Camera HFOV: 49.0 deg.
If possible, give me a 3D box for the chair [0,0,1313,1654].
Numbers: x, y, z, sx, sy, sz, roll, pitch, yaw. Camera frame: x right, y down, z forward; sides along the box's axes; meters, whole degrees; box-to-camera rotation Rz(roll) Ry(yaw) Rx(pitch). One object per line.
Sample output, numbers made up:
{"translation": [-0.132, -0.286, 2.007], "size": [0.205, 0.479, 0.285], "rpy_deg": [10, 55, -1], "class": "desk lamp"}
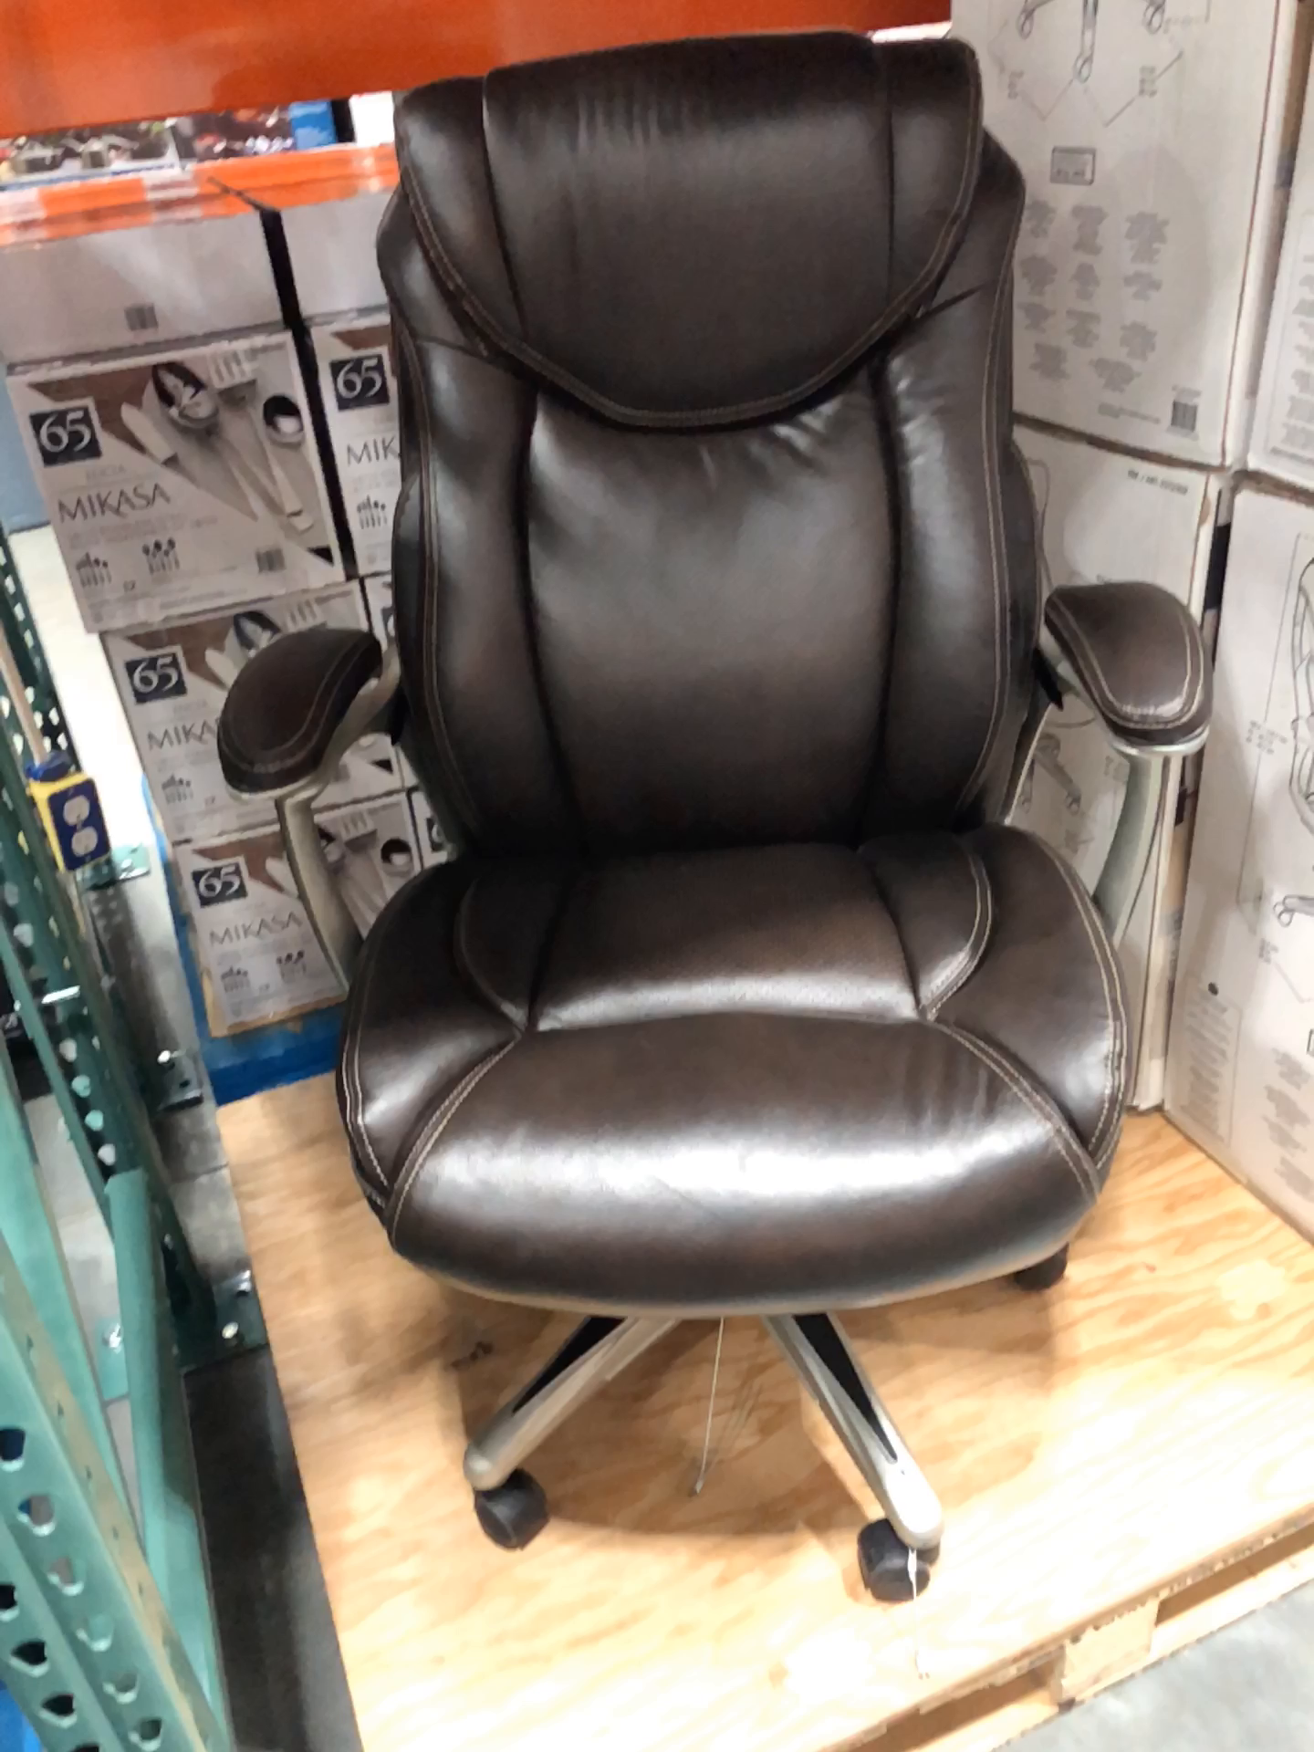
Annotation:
{"translation": [0.052, -0.093, 1.142], "size": [0.660, 1.095, 0.723], "rpy_deg": [-7, 31, -1], "class": "chair"}
